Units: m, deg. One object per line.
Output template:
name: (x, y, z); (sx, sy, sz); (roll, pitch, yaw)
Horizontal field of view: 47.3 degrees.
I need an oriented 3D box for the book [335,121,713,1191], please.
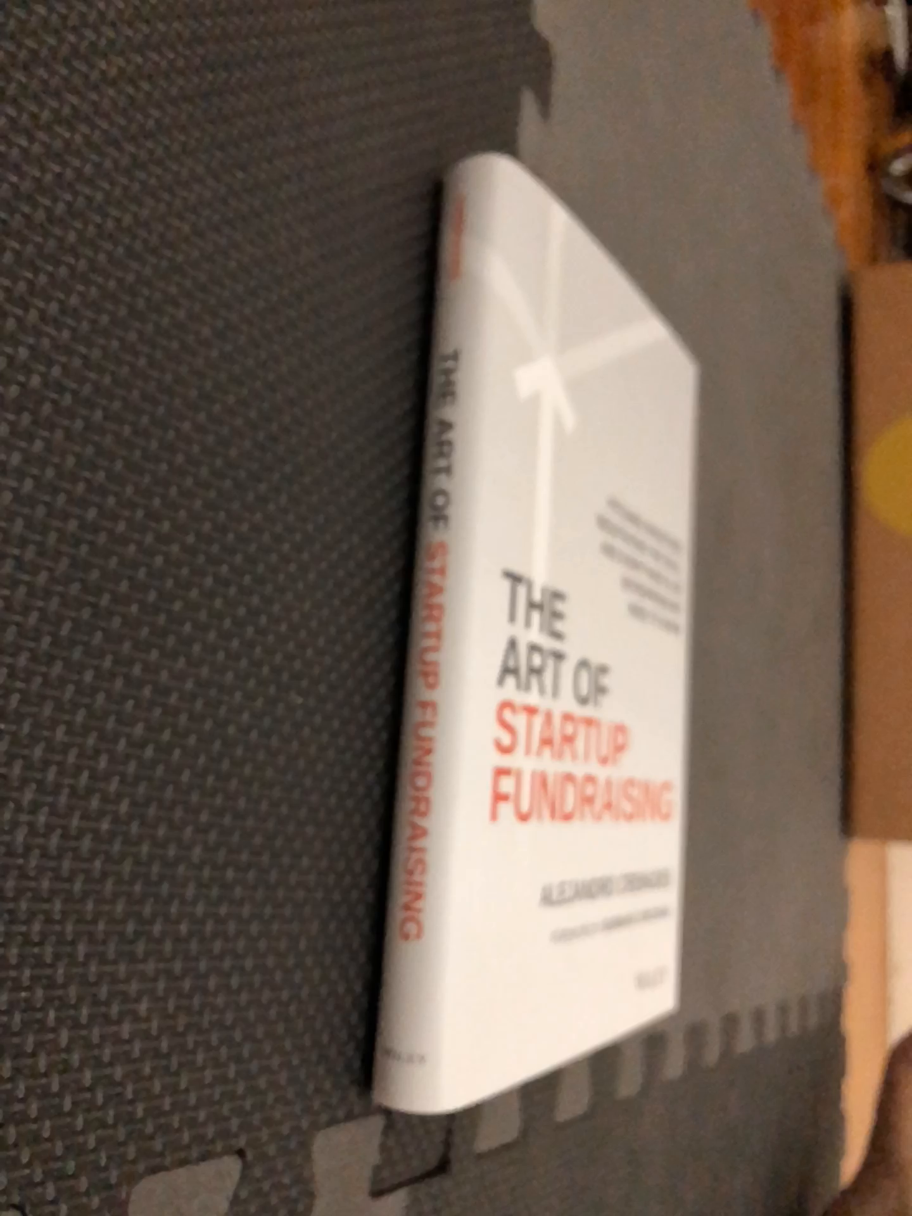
book: (0.037, 0.016, 0.320); (0.171, 0.030, 0.250); (21, 69, -57)
